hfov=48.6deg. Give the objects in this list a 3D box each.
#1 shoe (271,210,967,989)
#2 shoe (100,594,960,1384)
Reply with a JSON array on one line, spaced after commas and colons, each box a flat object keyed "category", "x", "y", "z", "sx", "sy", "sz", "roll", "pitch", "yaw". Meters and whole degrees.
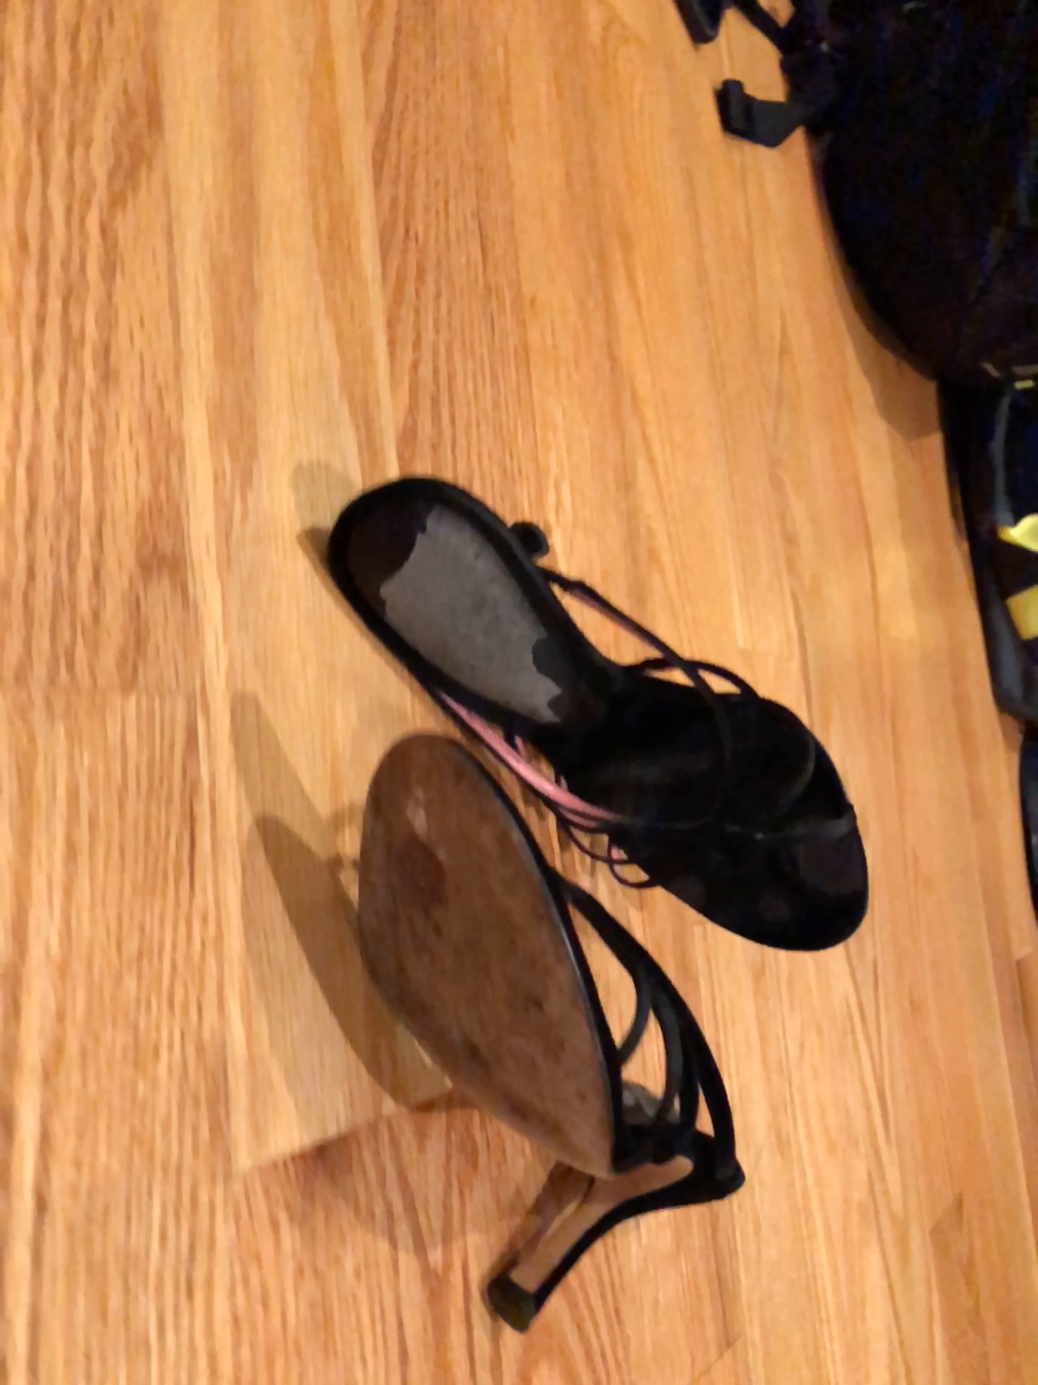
[{"category": "shoe", "x": 0.050, "y": -0.005, "z": 0.355, "sx": 0.236, "sy": 0.104, "sz": 0.082, "roll": 53, "pitch": 43, "yaw": -35}, {"category": "shoe", "x": 0.028, "y": 0.095, "z": 0.292, "sx": 0.216, "sy": 0.104, "sz": 0.102, "roll": 52, "pitch": 41, "yaw": -36}]
